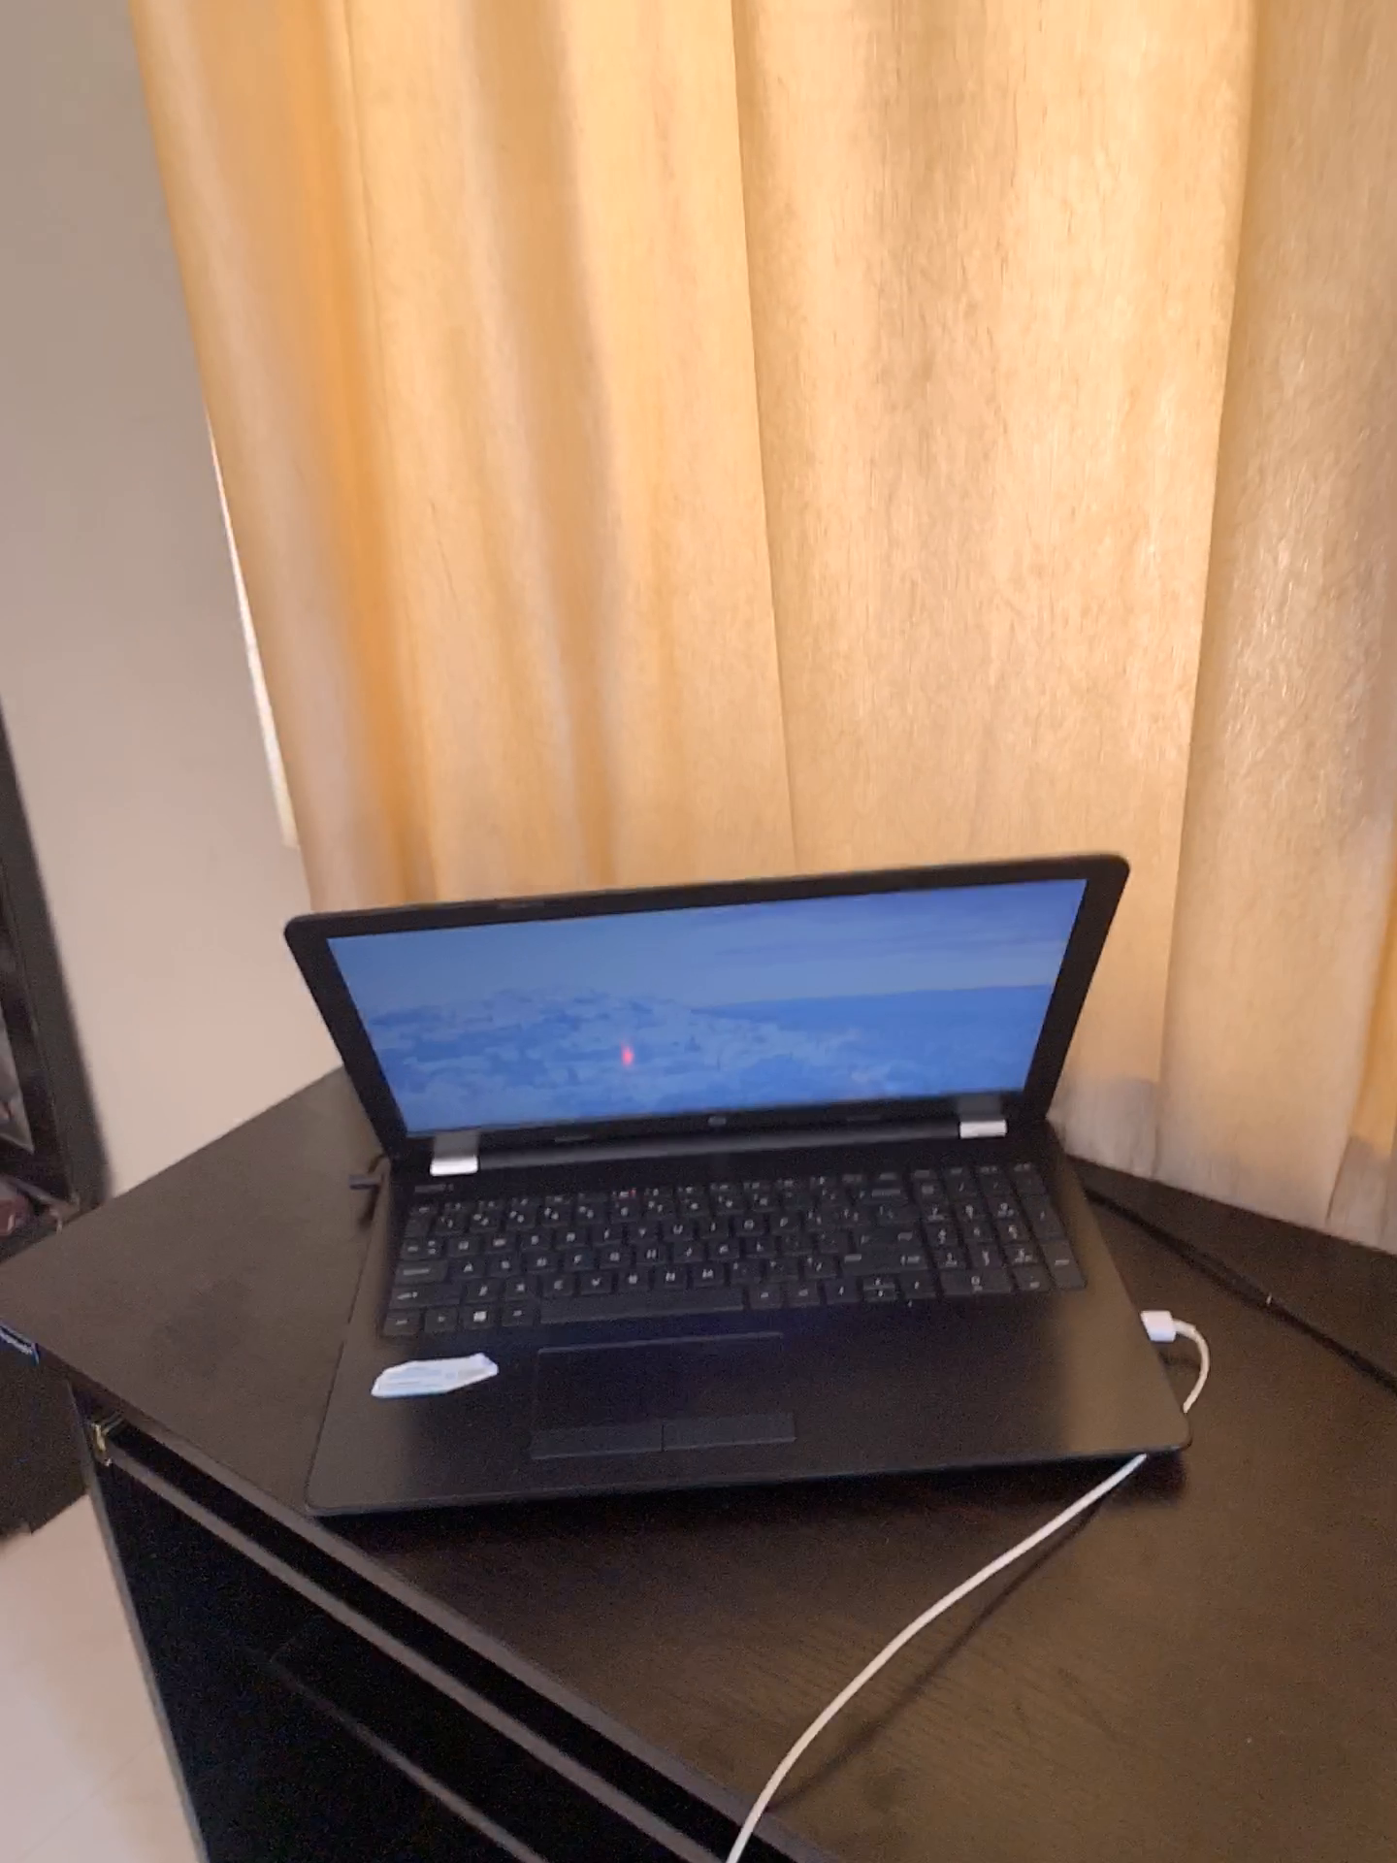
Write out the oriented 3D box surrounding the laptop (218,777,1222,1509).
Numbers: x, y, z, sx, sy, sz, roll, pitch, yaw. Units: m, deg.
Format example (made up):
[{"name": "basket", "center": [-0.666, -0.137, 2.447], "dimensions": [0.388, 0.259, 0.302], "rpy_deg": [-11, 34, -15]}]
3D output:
[{"name": "laptop", "center": [0.008, 0.082, 0.665], "dimensions": [0.362, 0.201, 0.239], "rpy_deg": [-4, 26, 1]}]
